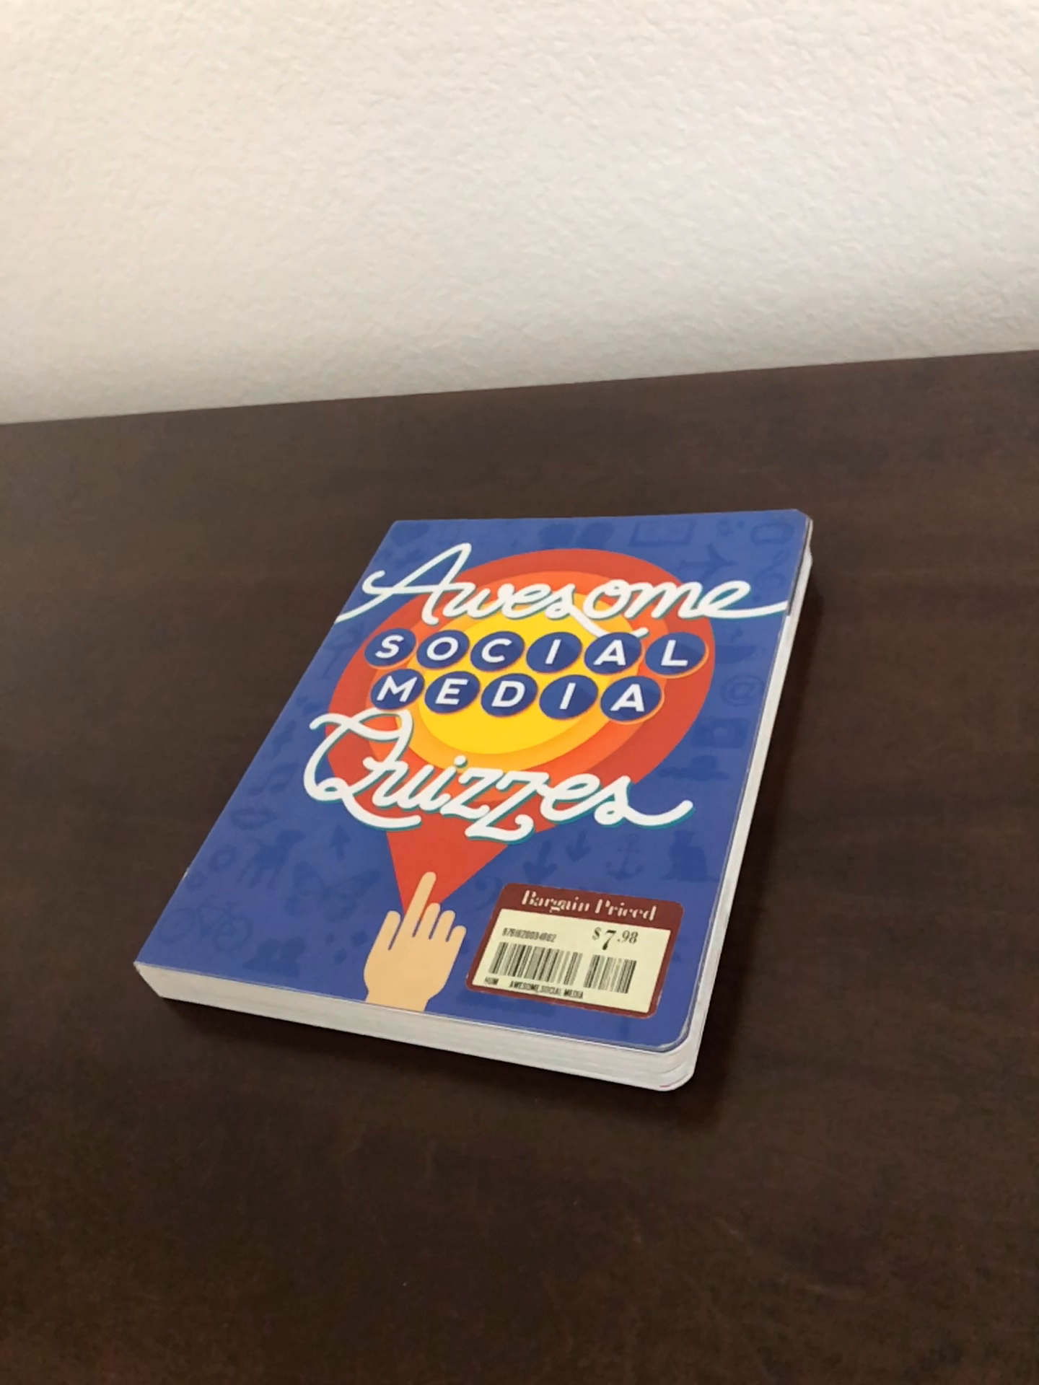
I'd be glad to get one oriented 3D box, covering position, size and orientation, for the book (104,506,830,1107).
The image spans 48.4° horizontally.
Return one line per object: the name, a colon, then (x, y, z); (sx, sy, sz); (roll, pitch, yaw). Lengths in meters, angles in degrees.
book: (-0.006, 0.014, 0.362); (0.172, 0.020, 0.201); (2, 47, 24)
